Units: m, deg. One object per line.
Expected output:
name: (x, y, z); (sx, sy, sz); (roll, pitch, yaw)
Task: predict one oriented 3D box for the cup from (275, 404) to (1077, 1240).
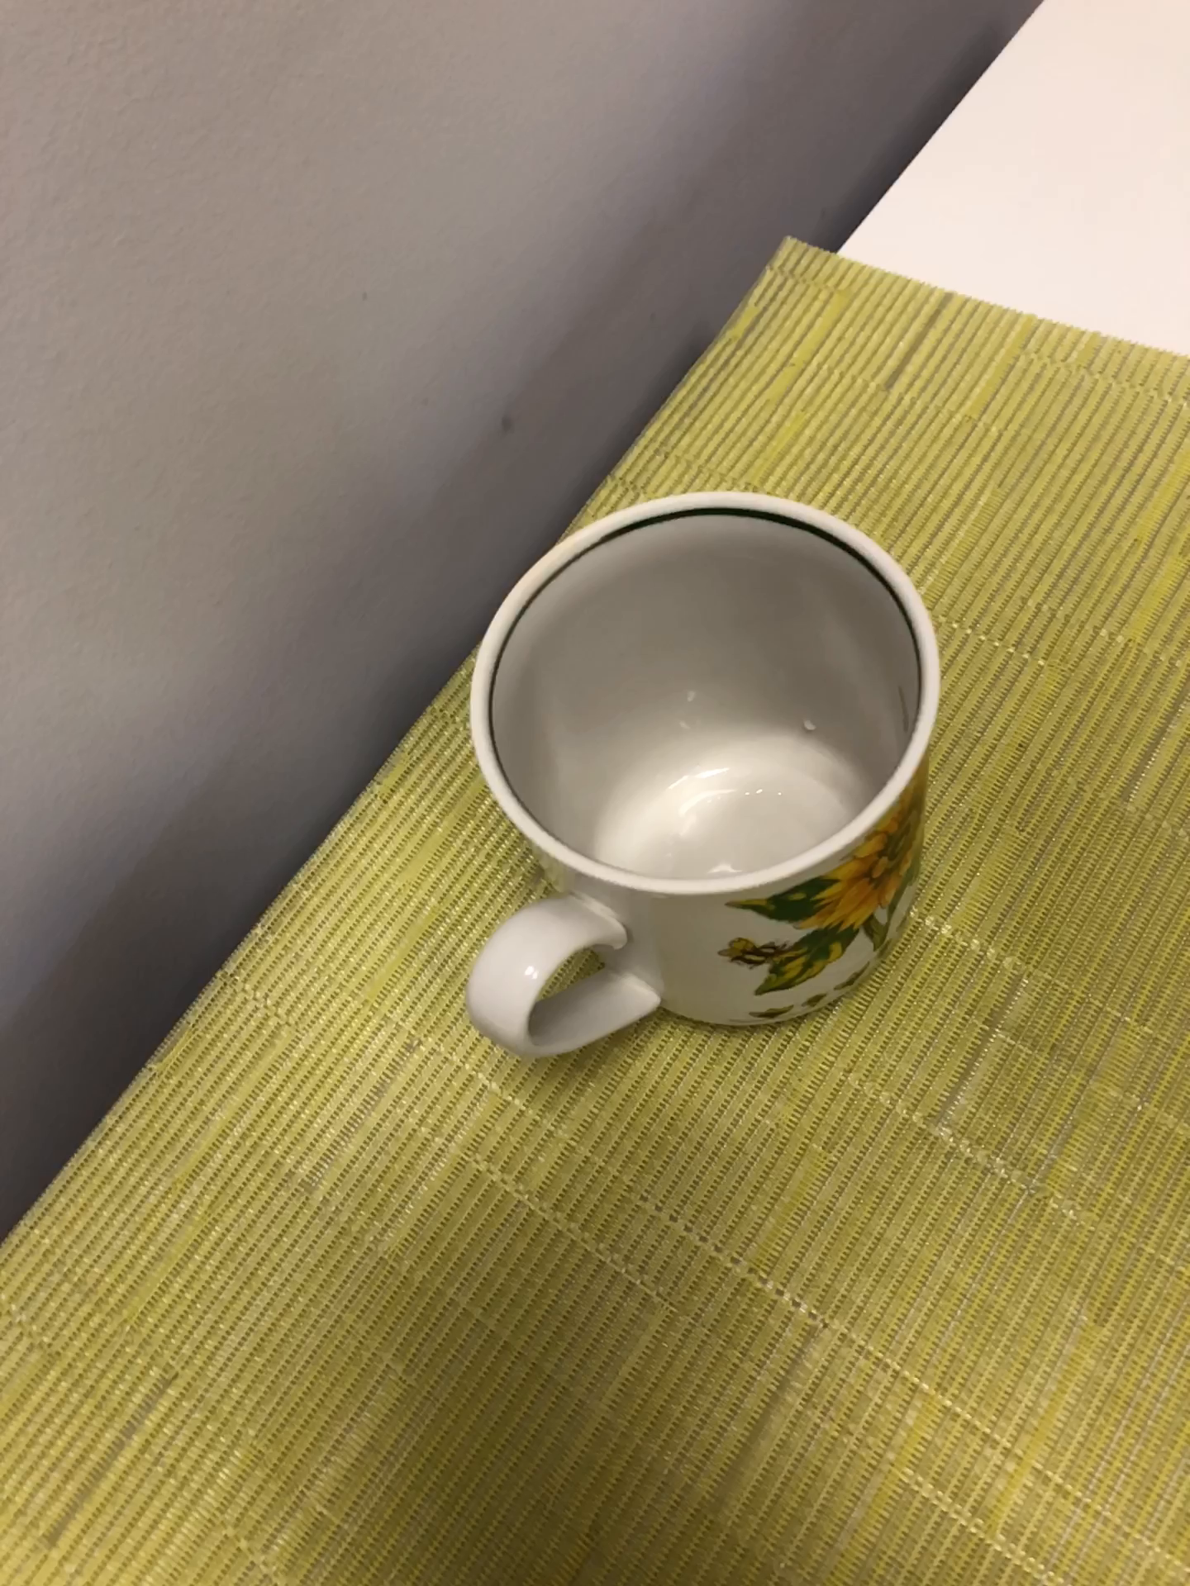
cup: (0.022, 0.006, 0.265); (0.088, 0.084, 0.116); (33, 74, 27)
